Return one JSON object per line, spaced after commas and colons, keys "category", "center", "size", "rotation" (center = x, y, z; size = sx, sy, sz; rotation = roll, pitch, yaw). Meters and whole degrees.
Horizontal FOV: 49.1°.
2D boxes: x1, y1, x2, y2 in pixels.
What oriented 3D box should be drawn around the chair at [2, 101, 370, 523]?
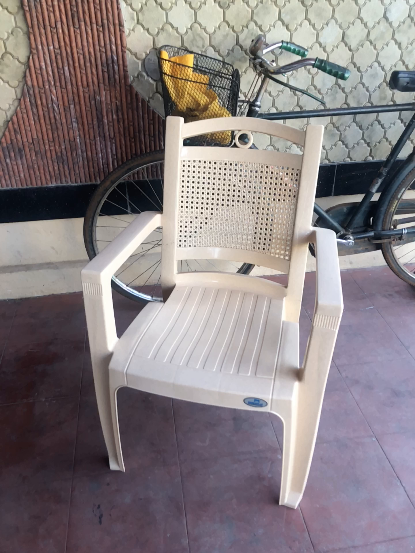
{"category": "chair", "center": [0.016, 0.063, 1.147], "size": [0.590, 0.826, 0.553], "rotation": [7, 34, 12]}
